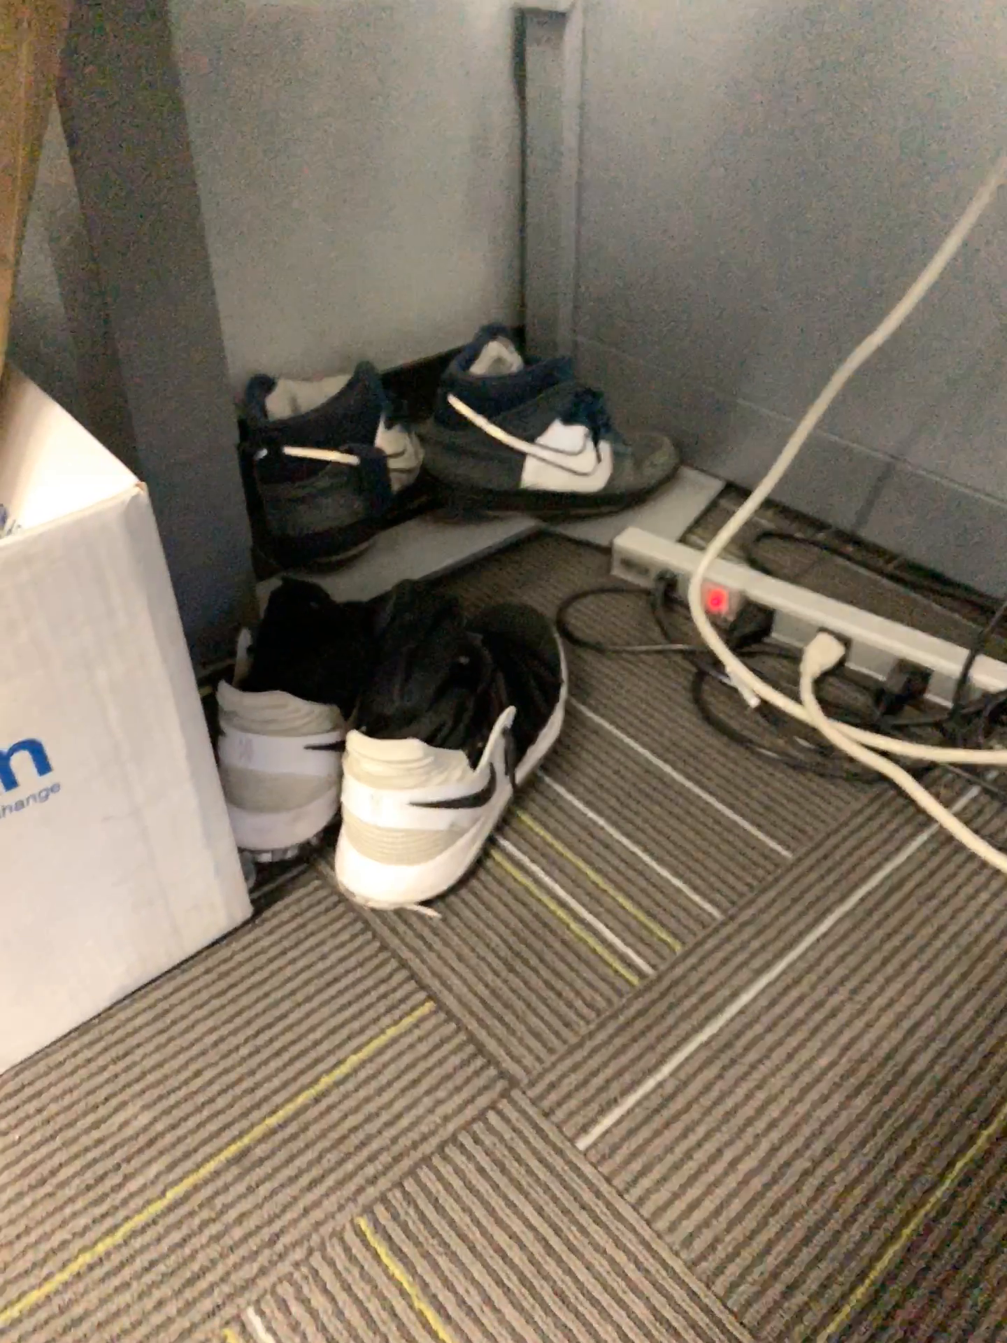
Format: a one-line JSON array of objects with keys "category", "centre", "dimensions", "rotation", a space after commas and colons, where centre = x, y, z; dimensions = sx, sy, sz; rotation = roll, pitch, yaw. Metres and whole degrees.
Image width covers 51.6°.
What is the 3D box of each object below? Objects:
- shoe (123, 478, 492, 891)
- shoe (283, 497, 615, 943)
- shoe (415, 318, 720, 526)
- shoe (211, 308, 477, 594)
[{"category": "shoe", "centre": [-0.120, -0.007, 0.758], "dimensions": [0.100, 0.129, 0.301], "rotation": [17, 42, 20]}, {"category": "shoe", "centre": [-0.020, 0.016, 0.704], "dimensions": [0.100, 0.129, 0.291], "rotation": [14, 41, 17]}, {"category": "shoe", "centre": [0.056, -0.254, 1.060], "dimensions": [0.260, 0.159, 0.131], "rotation": [-4, 38, -17]}, {"category": "shoe", "centre": [-0.140, -0.235, 1.041], "dimensions": [0.130, 0.169, 0.332], "rotation": [10, 32, 13]}]
